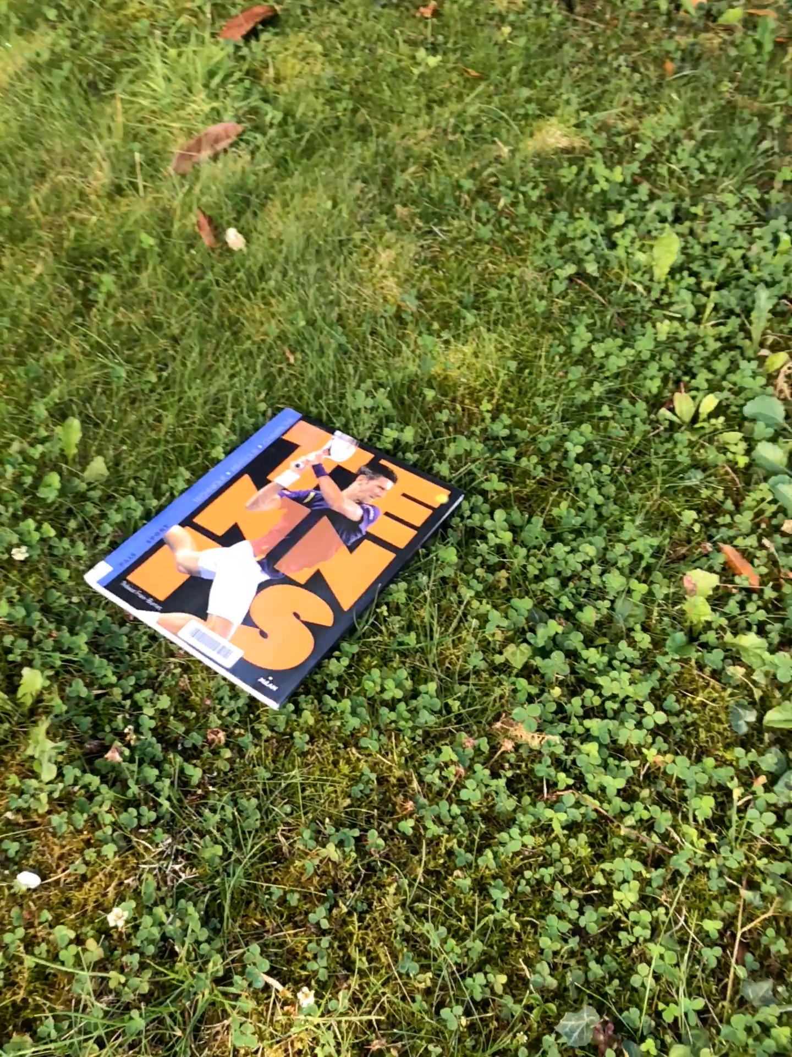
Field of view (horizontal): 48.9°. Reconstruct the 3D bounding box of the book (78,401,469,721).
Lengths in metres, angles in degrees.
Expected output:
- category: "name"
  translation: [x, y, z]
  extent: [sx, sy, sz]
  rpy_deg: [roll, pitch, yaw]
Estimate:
- category: "book"
  translation: [-0.090, 0.008, 0.691]
  extent: [0.198, 0.016, 0.241]
  rpy_deg: [28, 55, 22]
